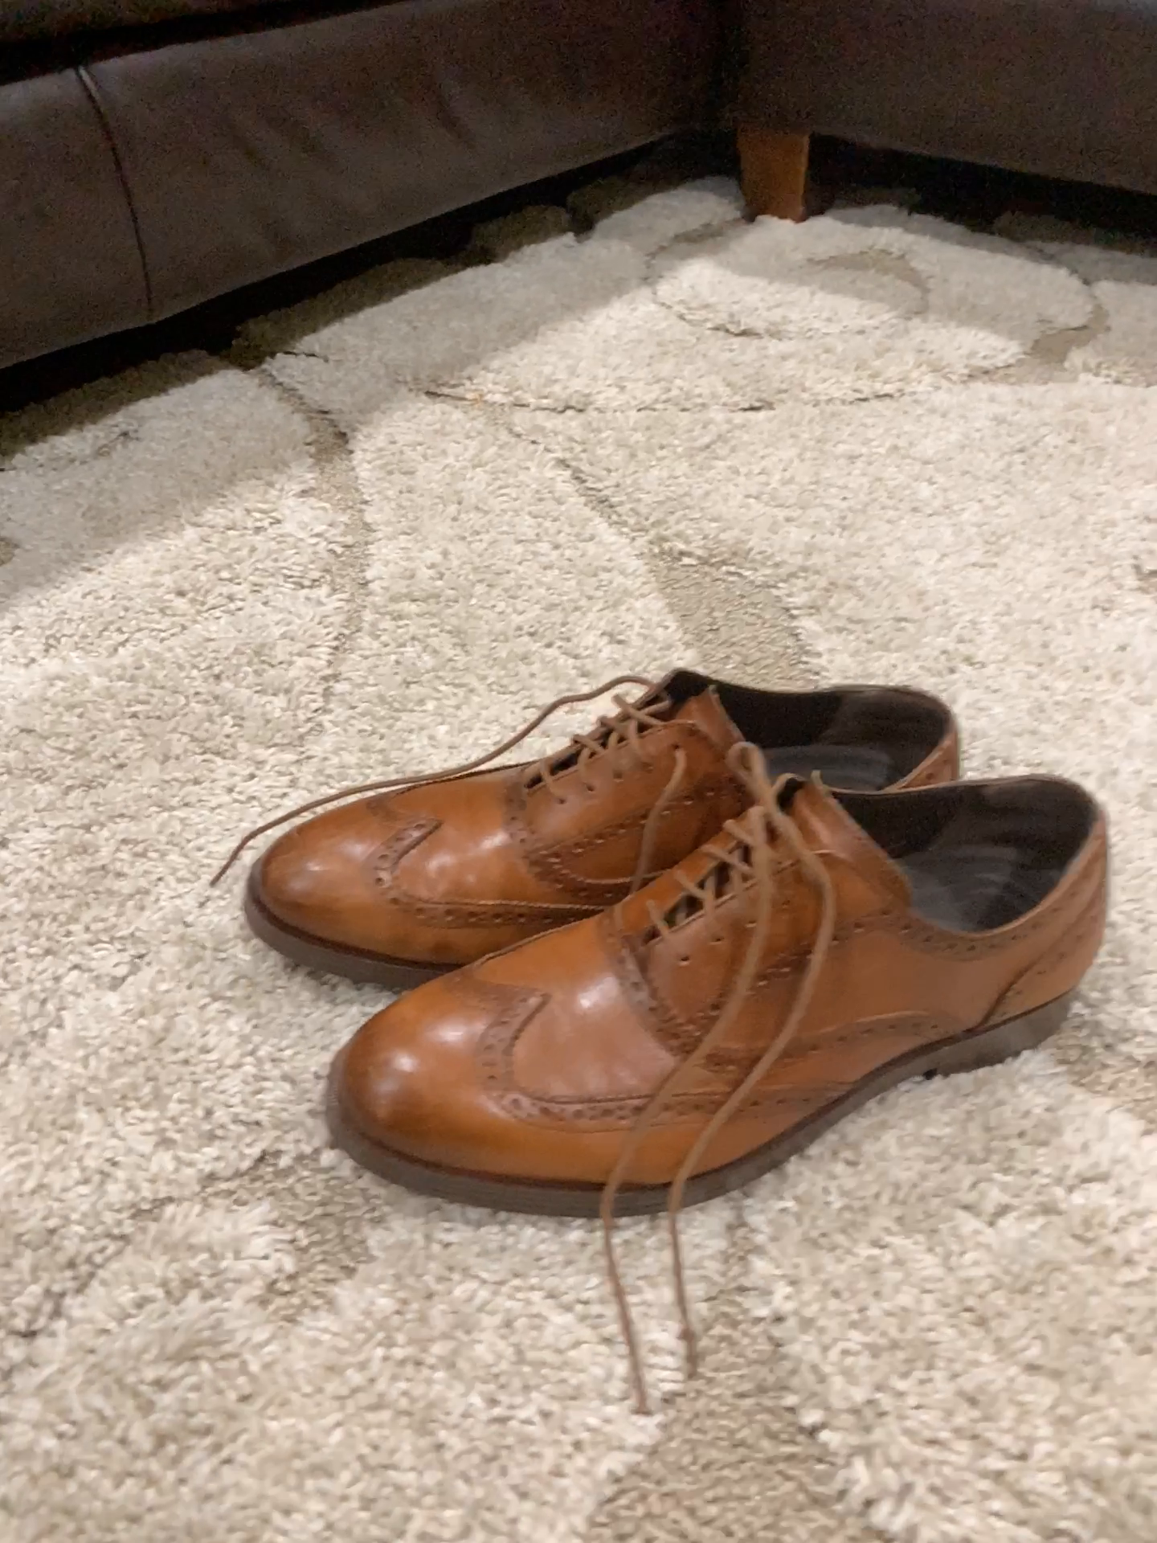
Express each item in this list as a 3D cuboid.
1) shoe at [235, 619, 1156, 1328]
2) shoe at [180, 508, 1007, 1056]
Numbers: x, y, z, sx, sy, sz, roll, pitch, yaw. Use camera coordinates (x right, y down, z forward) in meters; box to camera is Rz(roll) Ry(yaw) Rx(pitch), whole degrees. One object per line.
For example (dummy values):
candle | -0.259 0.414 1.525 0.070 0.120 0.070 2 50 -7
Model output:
shoe | 0.046 0.060 0.401 0.280 0.131 0.106 -14 42 -14
shoe | 0.002 -0.001 0.472 0.282 0.131 0.106 -11 41 -10
